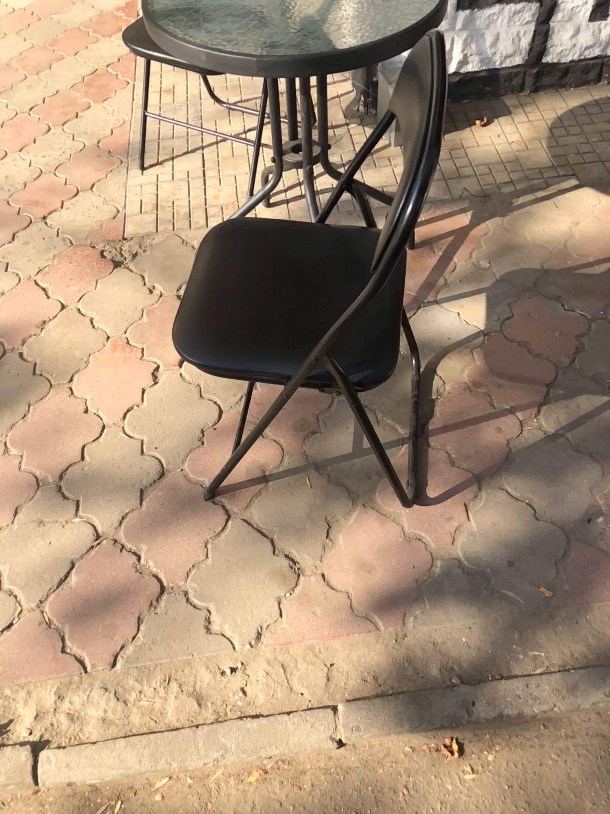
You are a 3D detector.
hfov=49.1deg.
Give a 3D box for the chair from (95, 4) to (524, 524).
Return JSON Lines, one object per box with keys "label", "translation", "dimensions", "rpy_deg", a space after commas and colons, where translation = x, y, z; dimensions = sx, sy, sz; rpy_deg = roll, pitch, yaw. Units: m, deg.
{"label": "chair", "translation": [0.050, -0.266, 1.379], "dimensions": [0.570, 0.837, 0.582], "rpy_deg": [5, 47, 7]}
